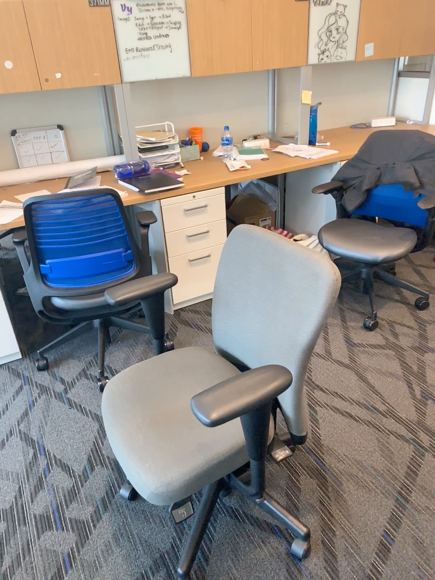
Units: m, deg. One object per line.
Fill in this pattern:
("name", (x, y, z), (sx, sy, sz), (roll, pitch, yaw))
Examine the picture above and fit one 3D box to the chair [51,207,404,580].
("chair", (-0.013, 0.296, 1.315), (0.661, 0.813, 0.674), (-15, 31, -21))
